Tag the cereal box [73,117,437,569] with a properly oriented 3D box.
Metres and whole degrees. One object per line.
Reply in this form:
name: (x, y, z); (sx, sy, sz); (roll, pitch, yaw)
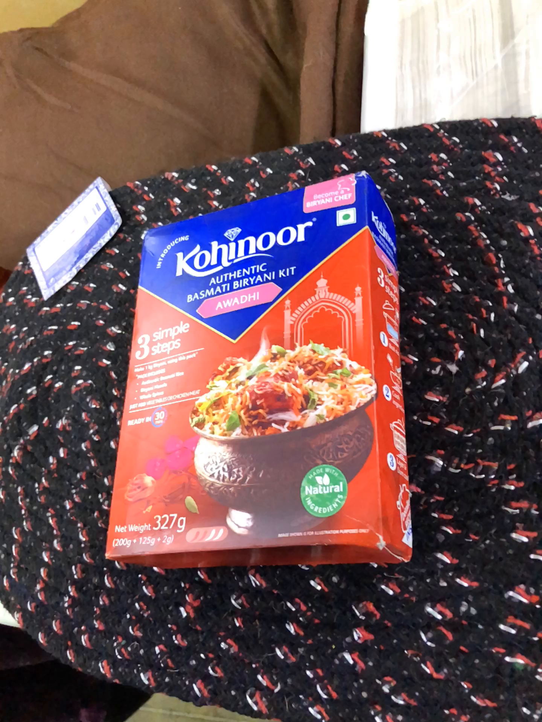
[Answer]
cereal box: (-0.009, -0.004, 0.271); (0.140, 0.040, 0.181); (-11, 64, 25)
